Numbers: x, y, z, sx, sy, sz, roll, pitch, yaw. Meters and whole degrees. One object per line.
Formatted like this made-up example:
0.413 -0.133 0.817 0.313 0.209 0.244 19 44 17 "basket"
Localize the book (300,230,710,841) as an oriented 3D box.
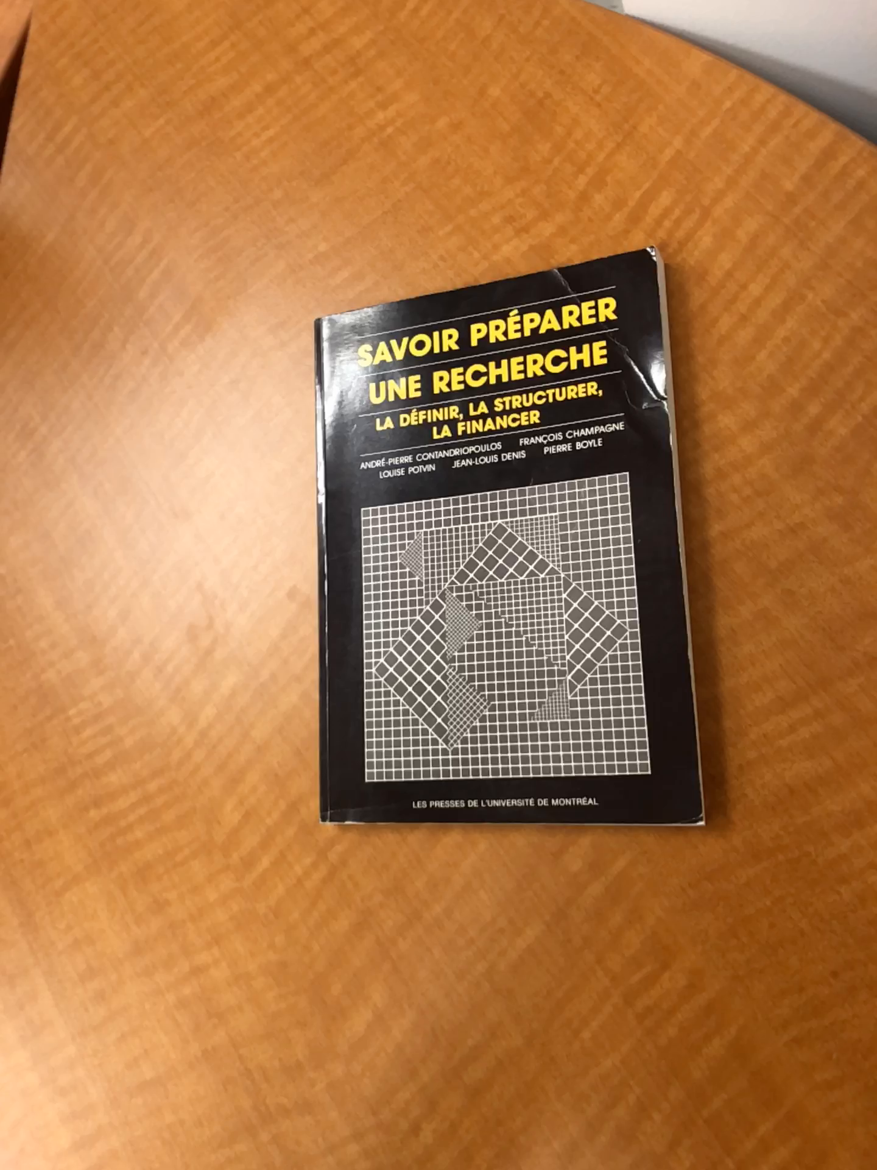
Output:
0.021 -0.017 0.414 0.160 0.030 0.240 -6 78 19 "book"
